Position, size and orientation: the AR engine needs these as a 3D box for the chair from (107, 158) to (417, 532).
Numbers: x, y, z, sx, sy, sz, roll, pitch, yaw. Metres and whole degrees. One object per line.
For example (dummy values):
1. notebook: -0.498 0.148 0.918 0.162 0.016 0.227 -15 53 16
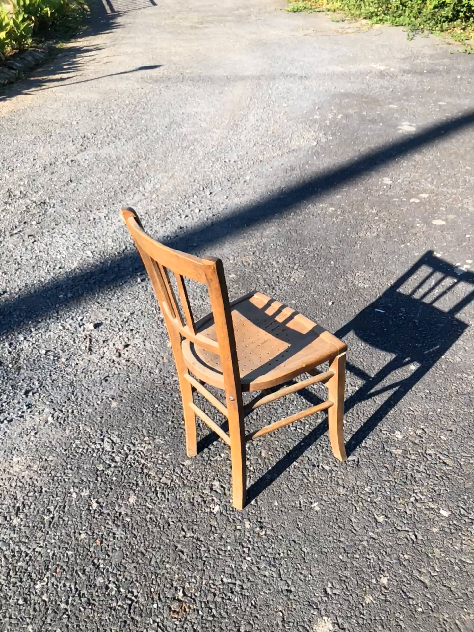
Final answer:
1. chair: 0.040 0.033 1.396 0.542 0.736 0.491 -18 35 -30
